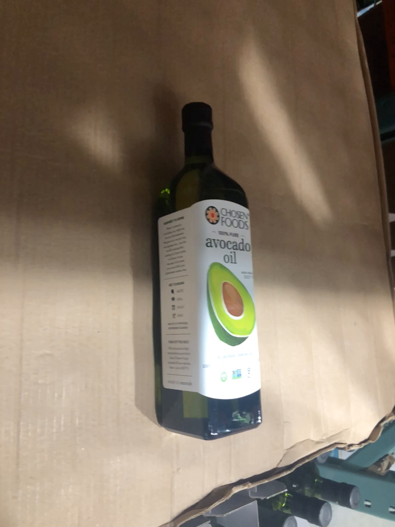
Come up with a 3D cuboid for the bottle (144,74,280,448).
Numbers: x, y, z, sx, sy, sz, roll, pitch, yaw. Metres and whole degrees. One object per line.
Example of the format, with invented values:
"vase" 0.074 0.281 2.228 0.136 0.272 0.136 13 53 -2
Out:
"bottle" 0.011 -0.004 0.426 0.087 0.074 0.320 5 78 -42
